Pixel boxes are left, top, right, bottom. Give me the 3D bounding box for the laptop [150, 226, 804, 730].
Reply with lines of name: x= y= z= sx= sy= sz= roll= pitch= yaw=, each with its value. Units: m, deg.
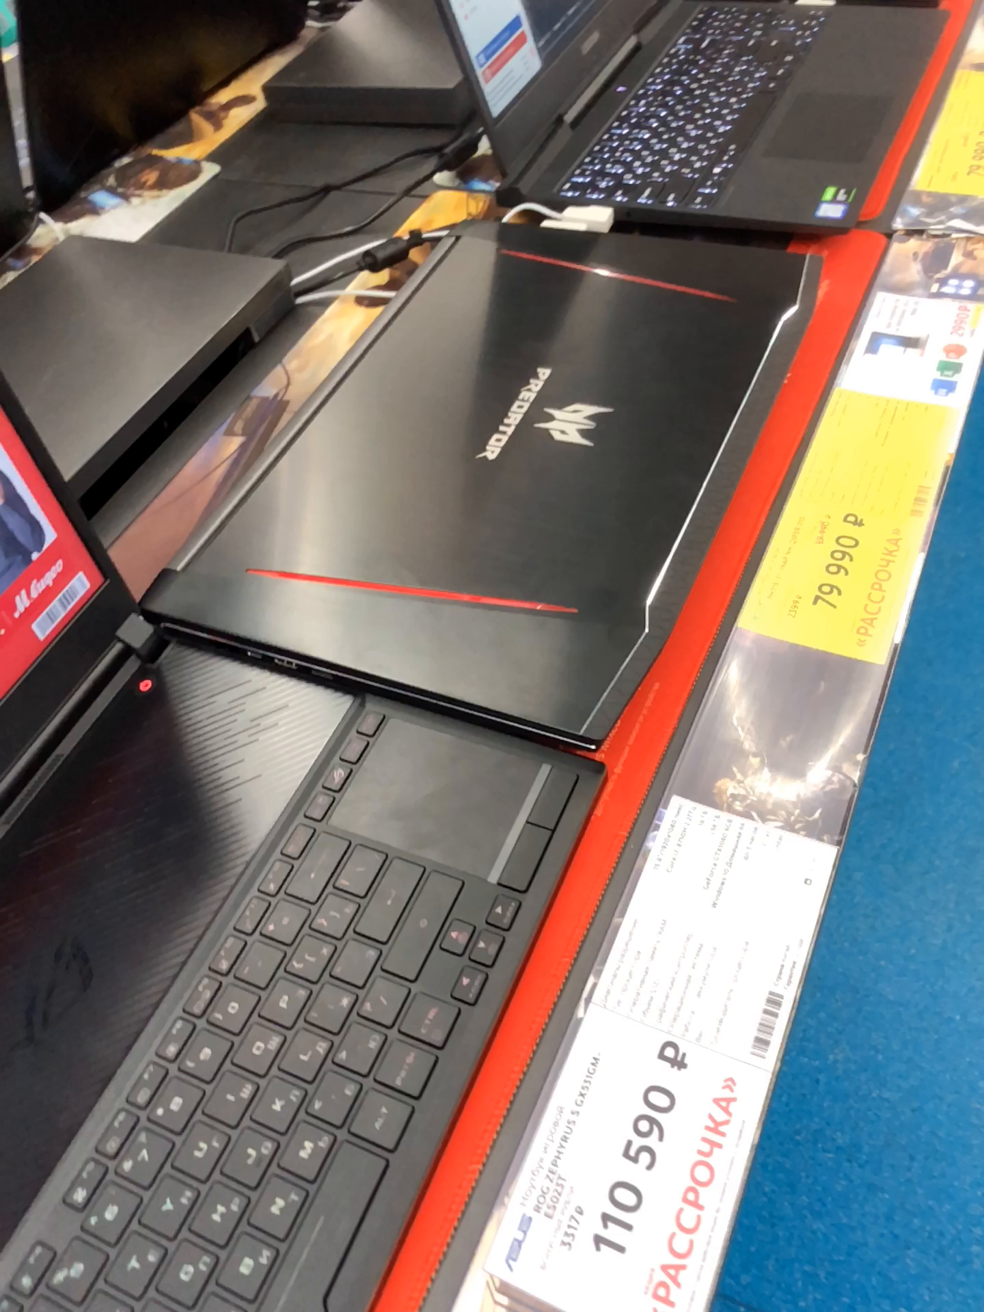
laptop: x=0.012 y=-0.133 z=0.599 sx=0.228 sy=0.004 sz=0.379 roll=14 pitch=53 yaw=21
